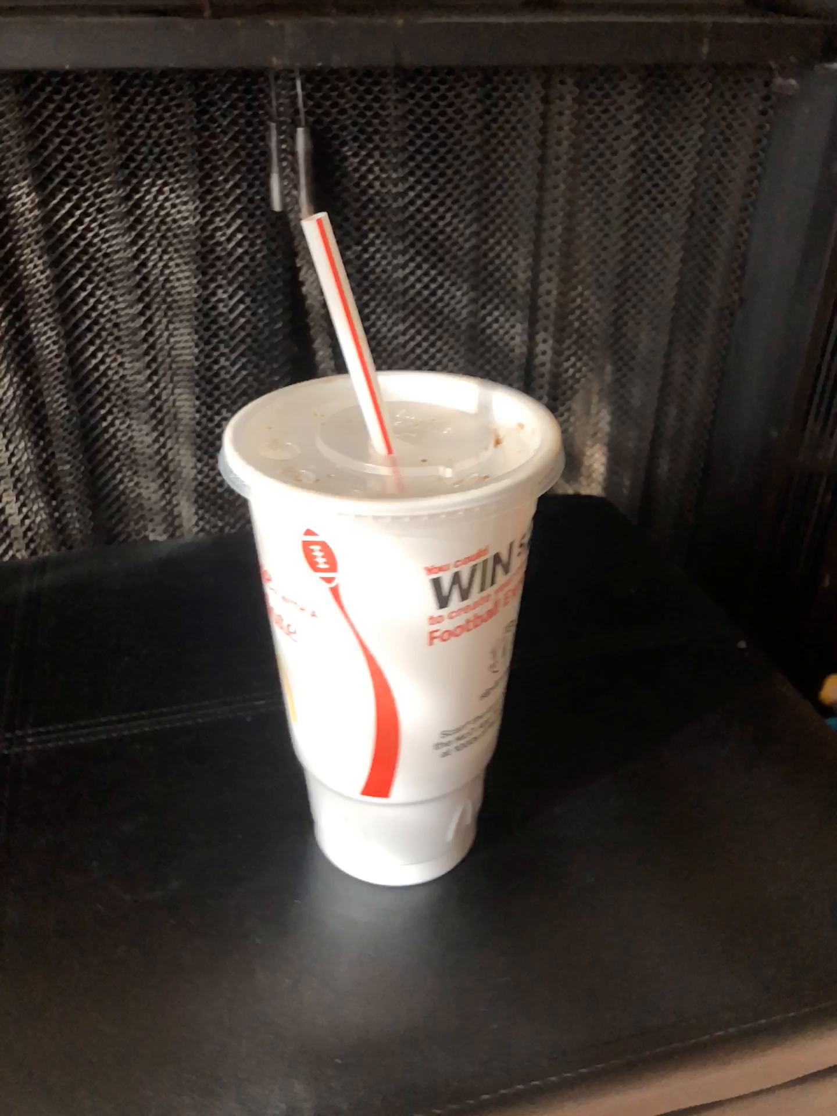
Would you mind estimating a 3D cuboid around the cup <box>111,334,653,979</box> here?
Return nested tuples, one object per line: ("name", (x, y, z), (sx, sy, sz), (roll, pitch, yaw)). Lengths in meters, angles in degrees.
("cup", (-0.008, 0.023, 0.319), (0.110, 0.150, 0.120), (0, 32, 0))
